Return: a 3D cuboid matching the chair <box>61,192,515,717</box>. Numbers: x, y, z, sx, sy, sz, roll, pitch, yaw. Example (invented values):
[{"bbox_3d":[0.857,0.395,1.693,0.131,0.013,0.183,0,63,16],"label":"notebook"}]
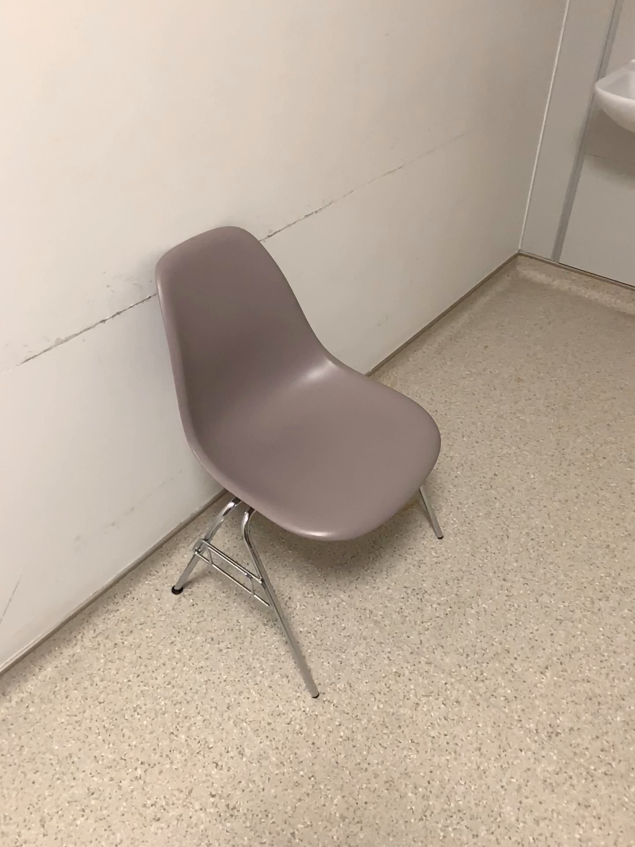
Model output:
[{"bbox_3d":[-0.031,0.047,1.375,0.542,0.782,0.583,27,49,29],"label":"chair"}]
